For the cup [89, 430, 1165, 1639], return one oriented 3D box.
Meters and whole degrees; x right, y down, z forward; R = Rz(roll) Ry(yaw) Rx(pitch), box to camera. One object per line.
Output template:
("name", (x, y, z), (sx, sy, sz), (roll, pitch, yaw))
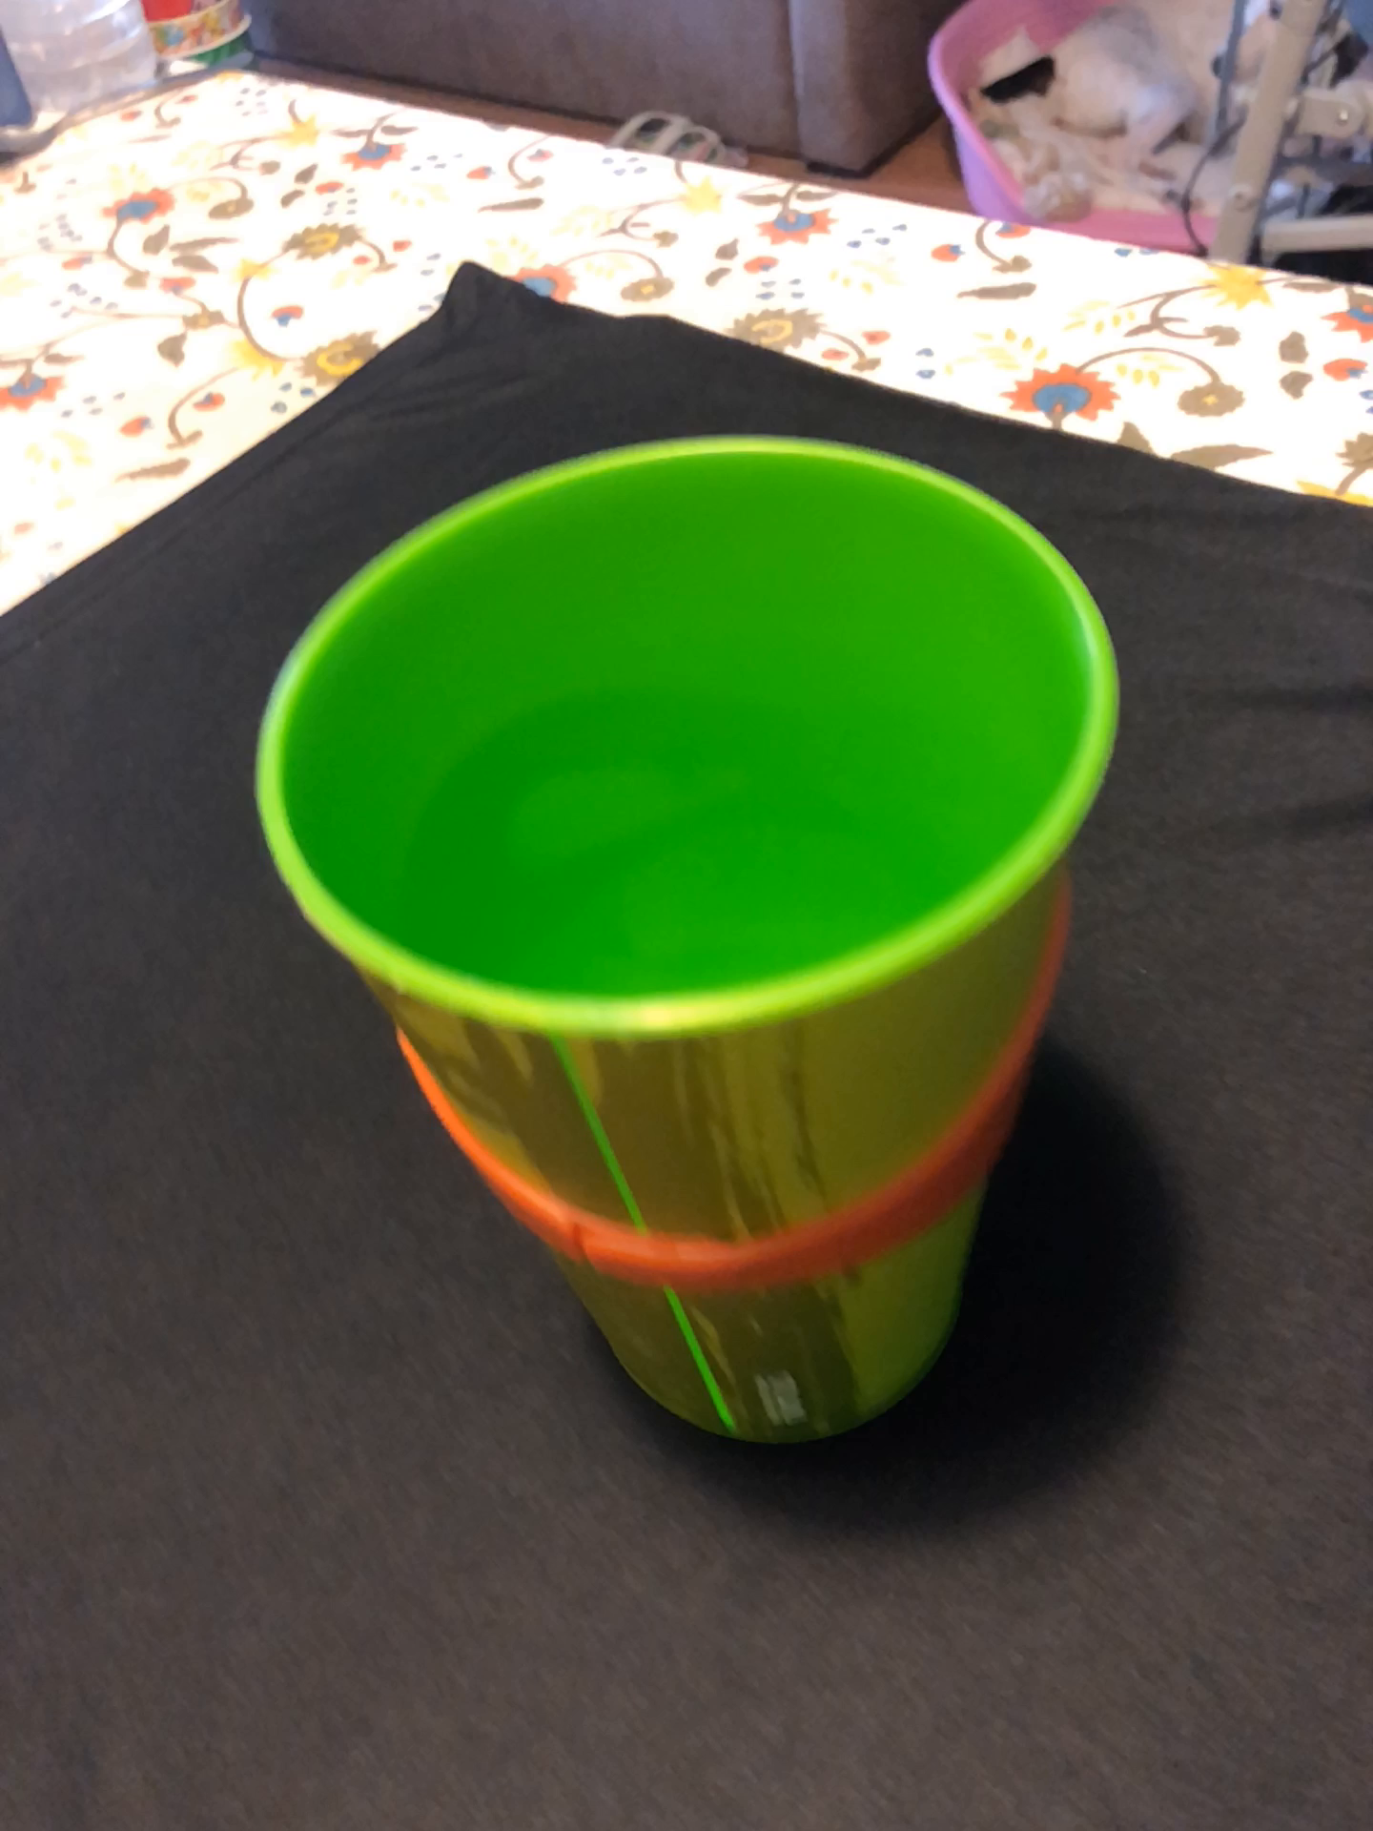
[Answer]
("cup", (0.008, 0.022, 0.226), (0.100, 0.139, 0.111), (2, 50, 11))
